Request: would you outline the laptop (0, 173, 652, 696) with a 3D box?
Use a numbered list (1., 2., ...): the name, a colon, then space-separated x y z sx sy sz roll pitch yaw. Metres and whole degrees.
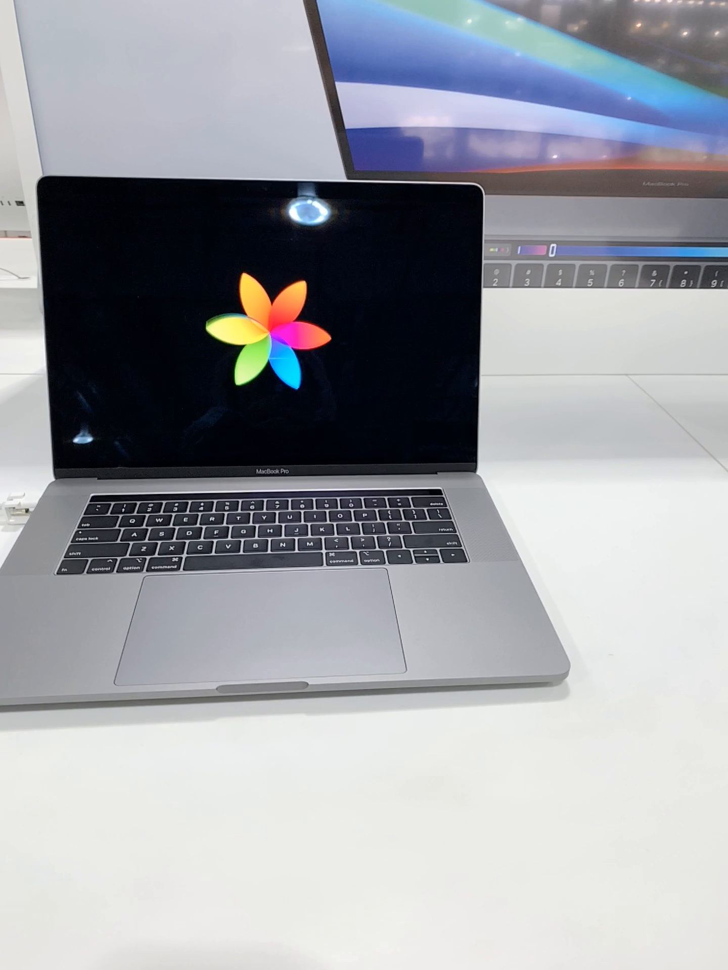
1. laptop: -0.064 -0.061 0.469 0.330 0.205 0.304 -1 29 -6
